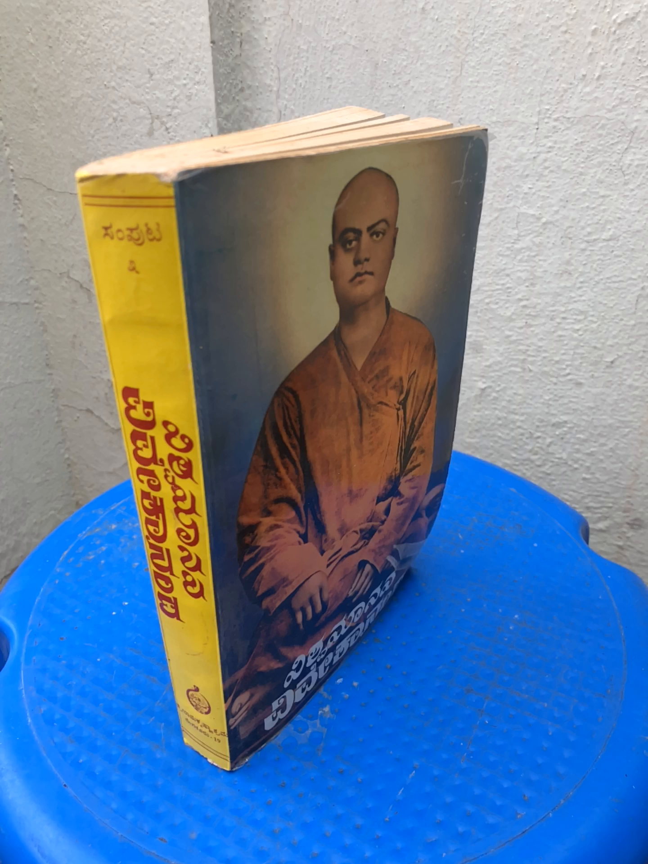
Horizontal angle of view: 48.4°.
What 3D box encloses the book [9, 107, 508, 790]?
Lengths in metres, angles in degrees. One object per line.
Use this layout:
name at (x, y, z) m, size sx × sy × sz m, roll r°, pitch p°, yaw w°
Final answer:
book at (0.001, -0.010, 0.281) m, size 0.050 × 0.199 × 0.191 m, roll 17°, pitch 33°, yaw 33°
